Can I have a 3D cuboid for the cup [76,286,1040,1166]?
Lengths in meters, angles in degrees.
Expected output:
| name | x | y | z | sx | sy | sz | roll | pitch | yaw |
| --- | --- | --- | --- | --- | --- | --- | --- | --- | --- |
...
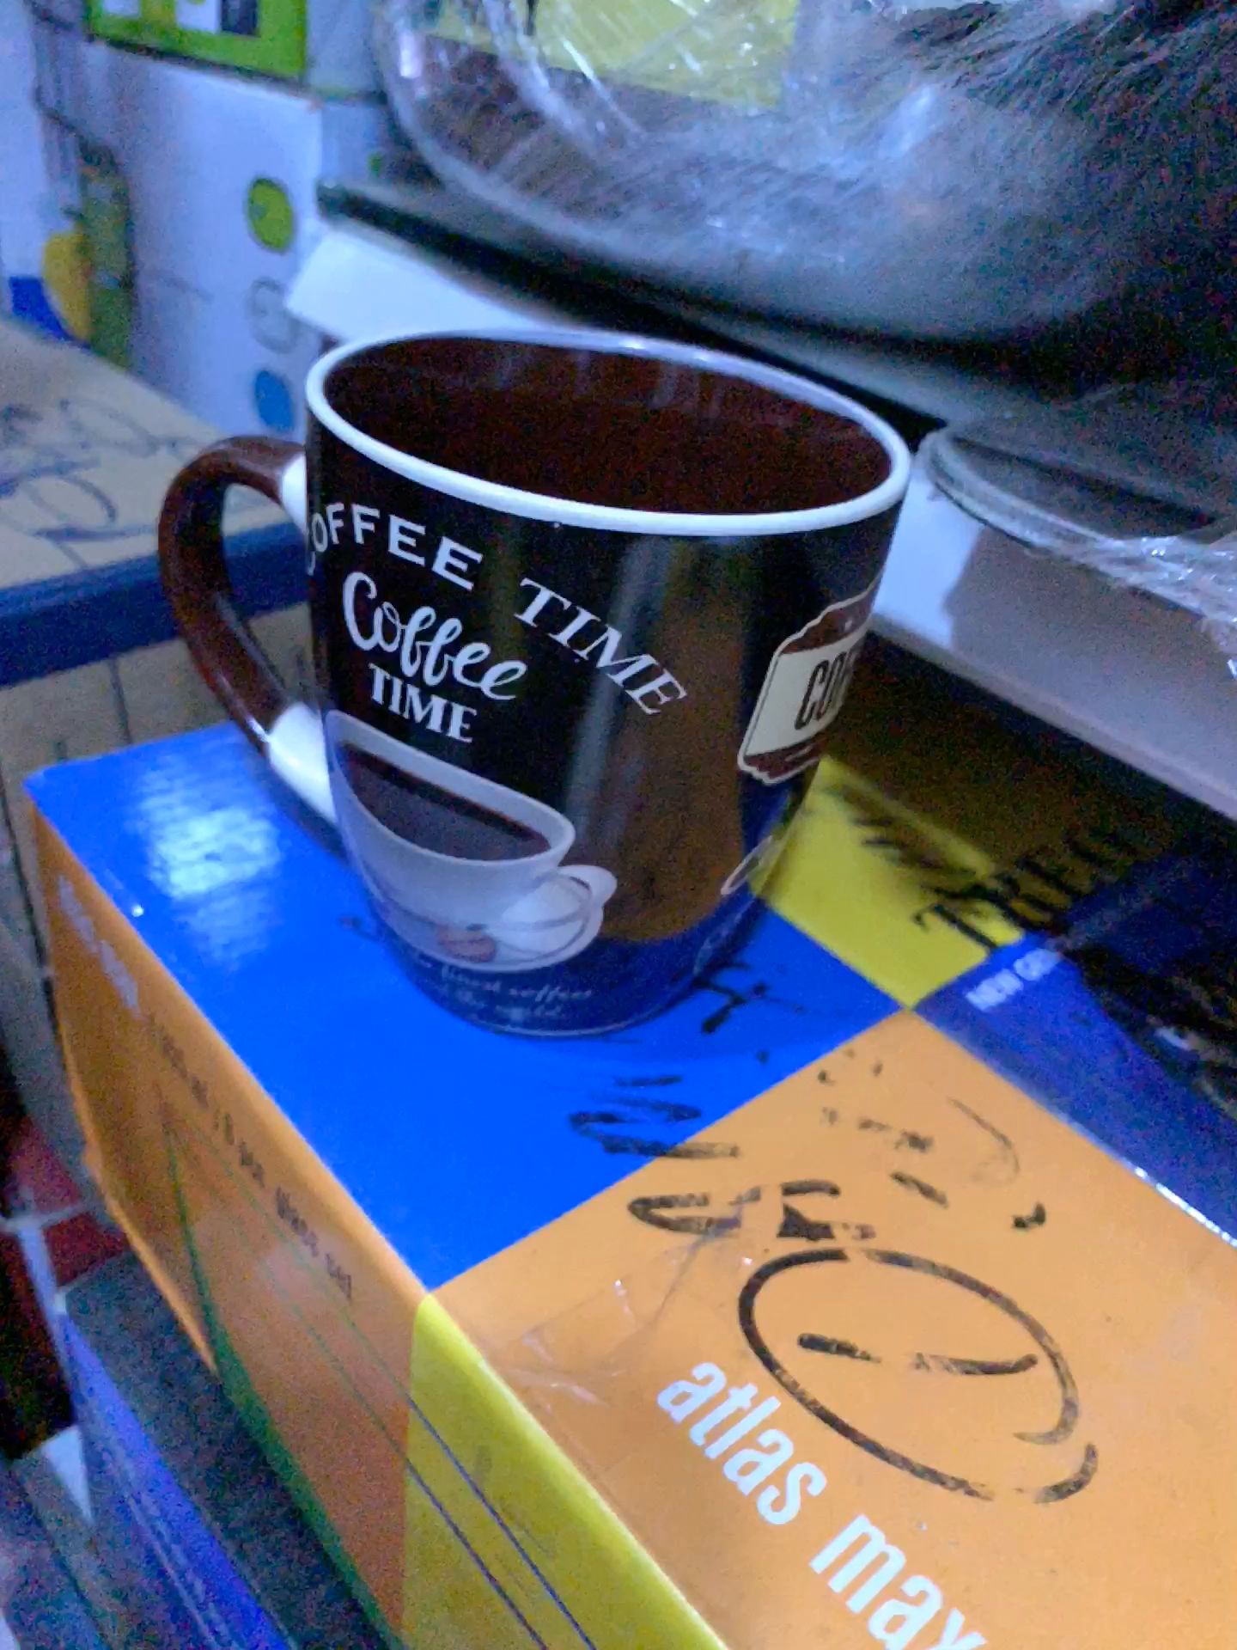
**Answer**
| name | x | y | z | sx | sy | sz | roll | pitch | yaw |
| --- | --- | --- | --- | --- | --- | --- | --- | --- | --- |
| cup | -0.011 | -0.024 | 0.198 | 0.110 | 0.079 | 0.070 | 24 | 36 | 23 |
